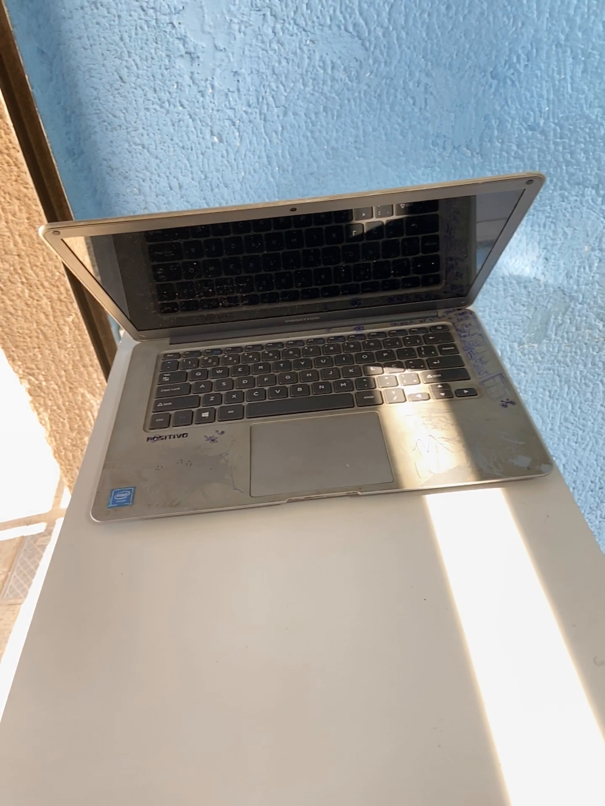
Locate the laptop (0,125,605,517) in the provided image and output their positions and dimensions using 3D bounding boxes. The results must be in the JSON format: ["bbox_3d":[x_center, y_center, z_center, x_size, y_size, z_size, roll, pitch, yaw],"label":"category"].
[{"bbox_3d":[-0.001,-0.070,0.464,0.326,0.167,0.213,-6,40,1],"label":"laptop"}]
